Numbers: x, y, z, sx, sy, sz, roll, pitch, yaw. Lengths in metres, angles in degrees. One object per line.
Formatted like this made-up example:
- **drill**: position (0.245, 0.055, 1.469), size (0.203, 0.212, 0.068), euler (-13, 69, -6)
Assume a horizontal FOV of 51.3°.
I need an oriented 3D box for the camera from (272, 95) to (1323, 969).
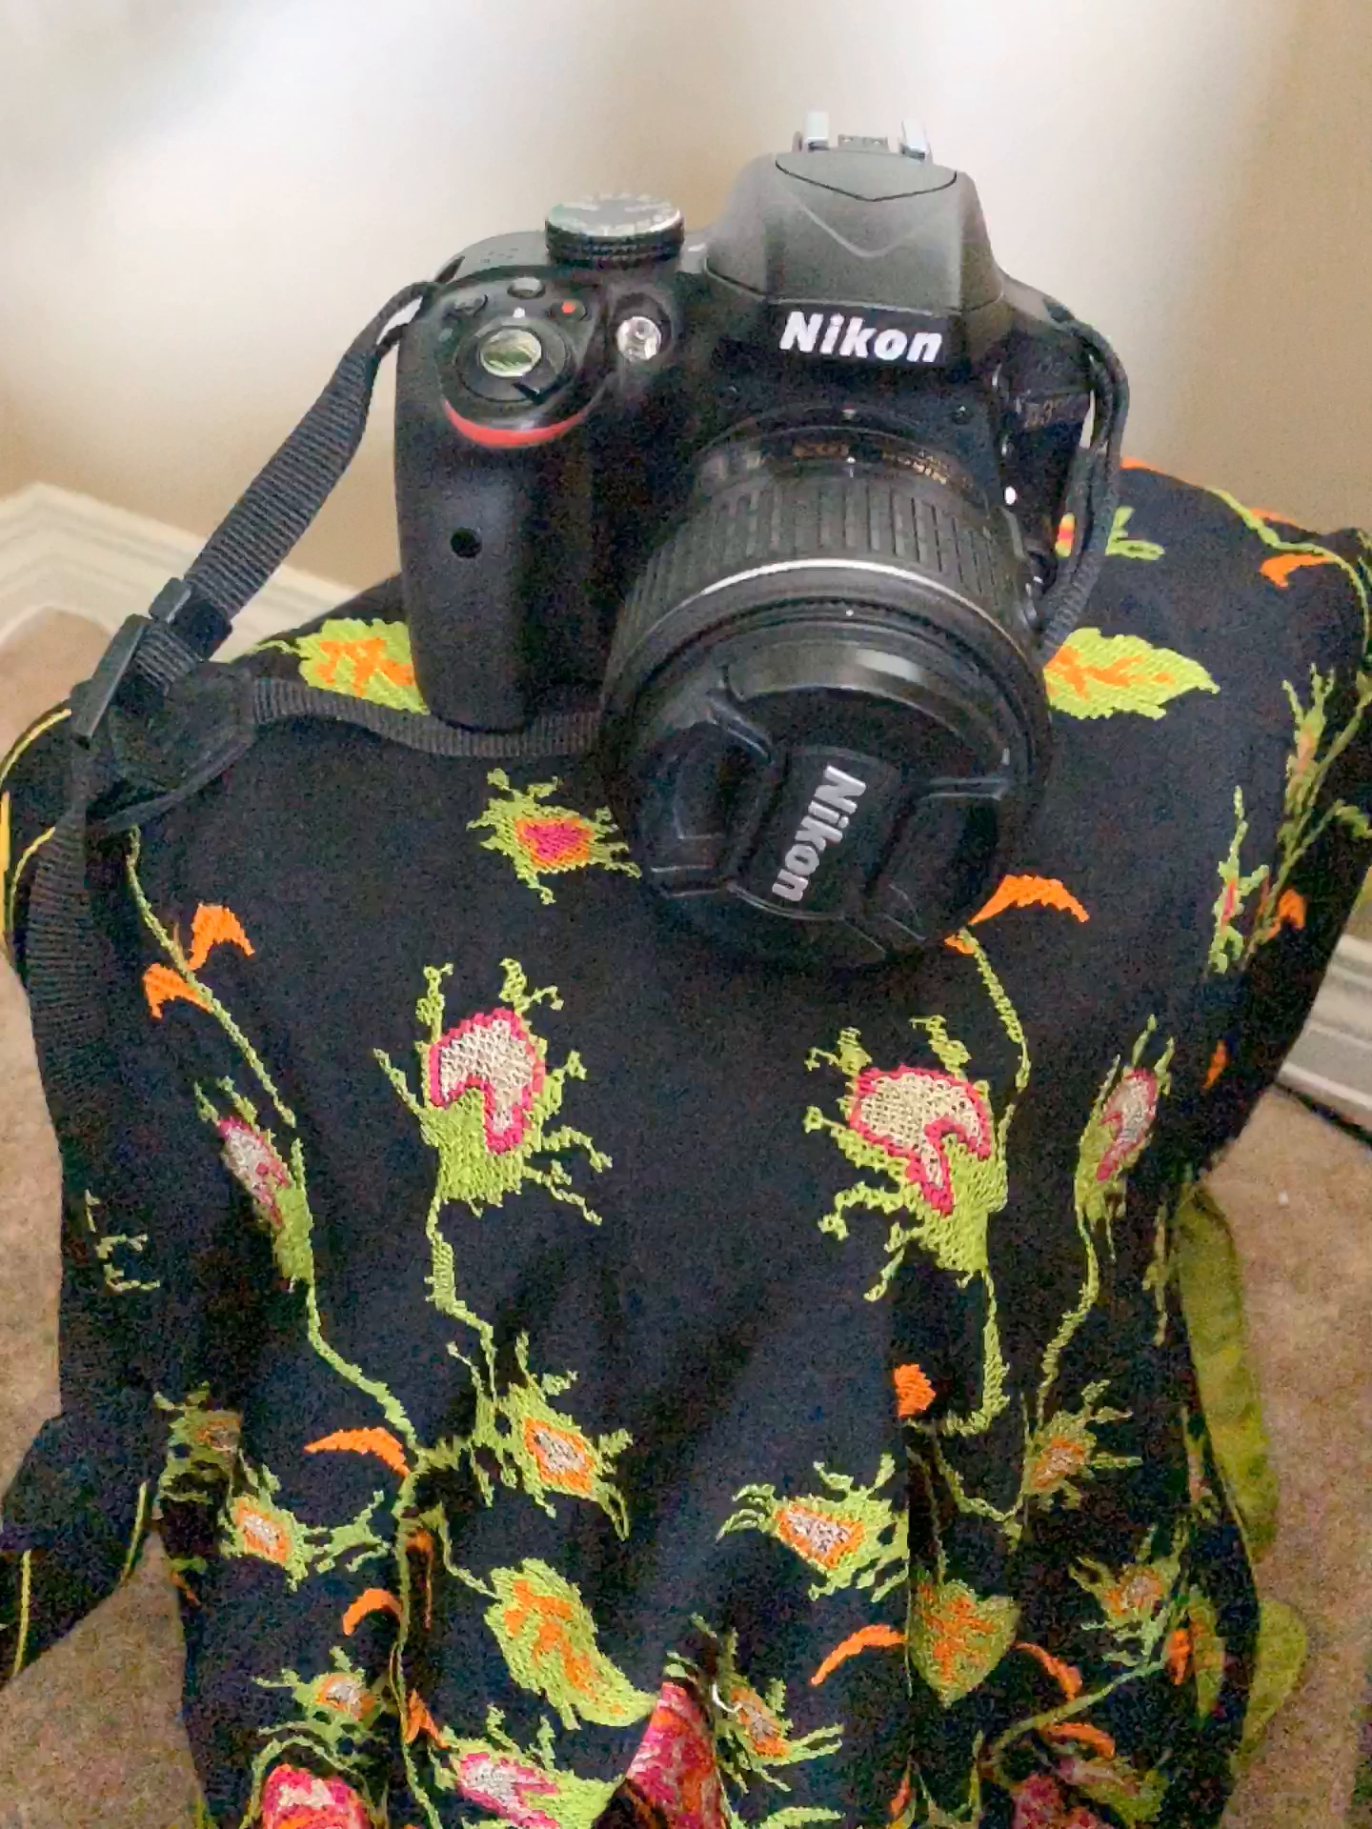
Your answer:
- **camera**: position (0.012, -0.062, 0.229), size (0.120, 0.099, 0.091), euler (3, 41, -1)
